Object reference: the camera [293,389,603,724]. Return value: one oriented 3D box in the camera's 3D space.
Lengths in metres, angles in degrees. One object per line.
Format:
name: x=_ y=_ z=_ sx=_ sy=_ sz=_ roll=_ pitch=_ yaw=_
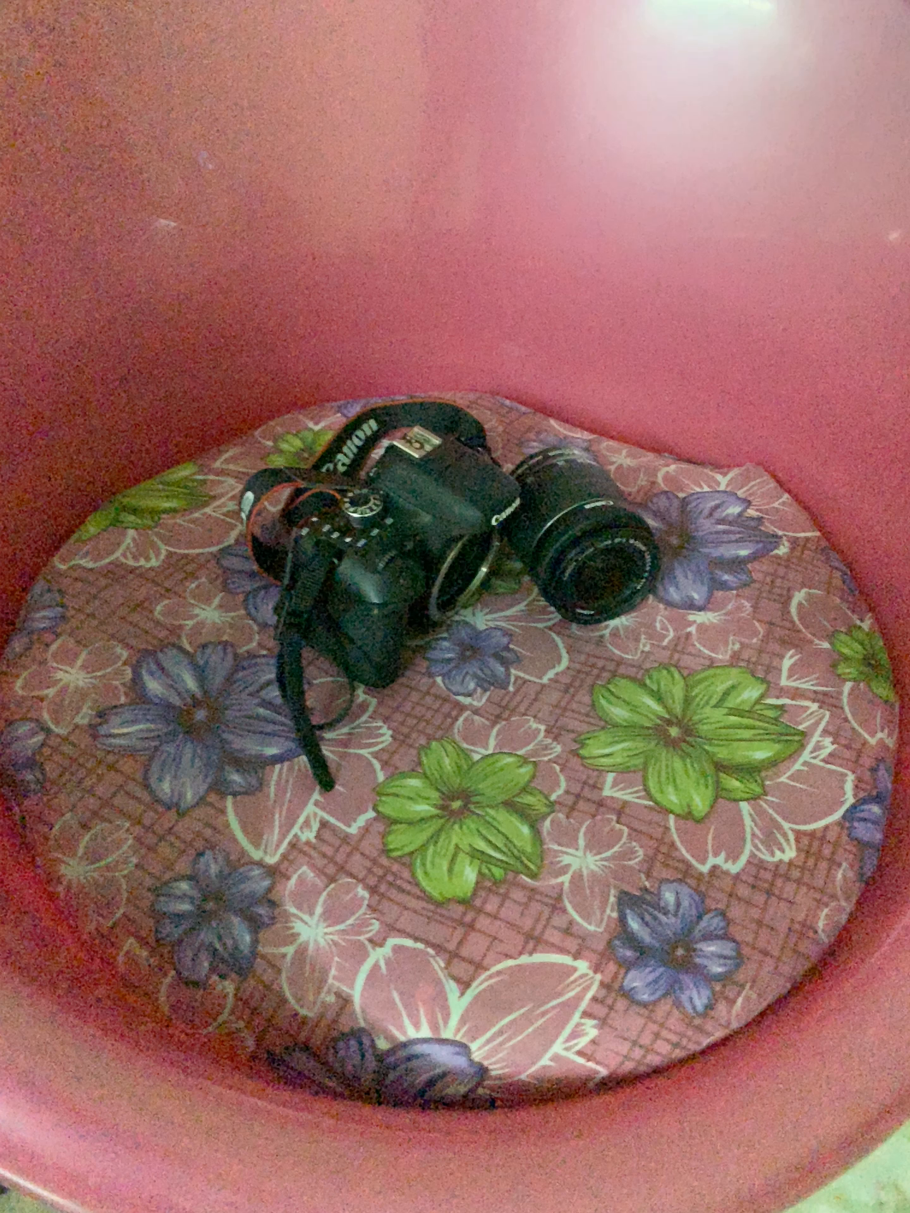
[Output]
camera: x=-0.002 y=-0.030 z=0.489 sx=0.086 sy=0.078 sz=0.143 roll=31 pitch=55 yaw=19
